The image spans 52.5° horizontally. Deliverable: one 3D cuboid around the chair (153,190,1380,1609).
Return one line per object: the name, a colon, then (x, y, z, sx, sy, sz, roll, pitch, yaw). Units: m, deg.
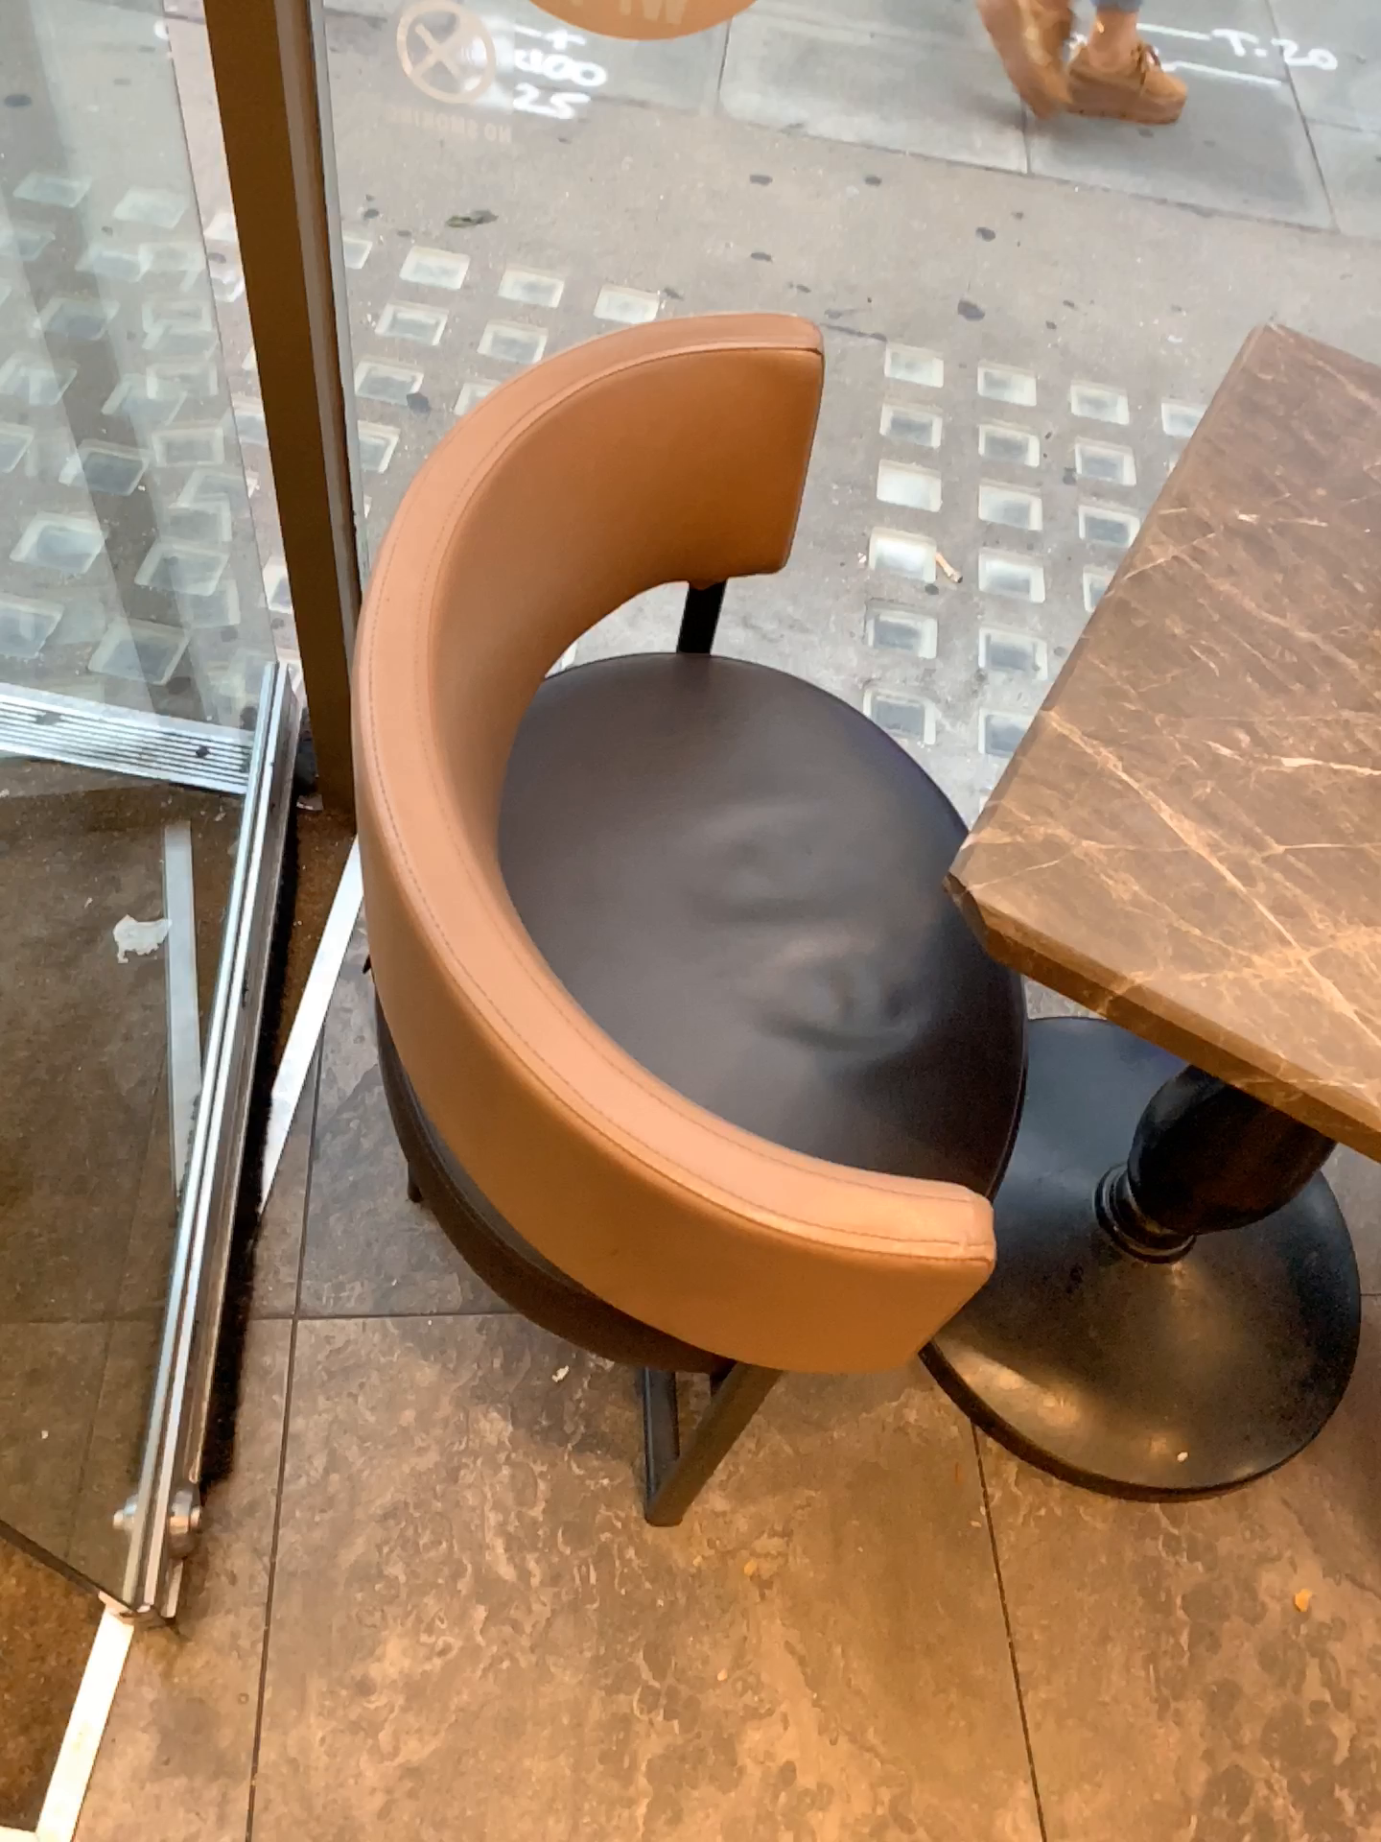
chair: (0.030, 0.021, 1.045, 0.510, 0.655, 0.766, 8, 56, -4)
